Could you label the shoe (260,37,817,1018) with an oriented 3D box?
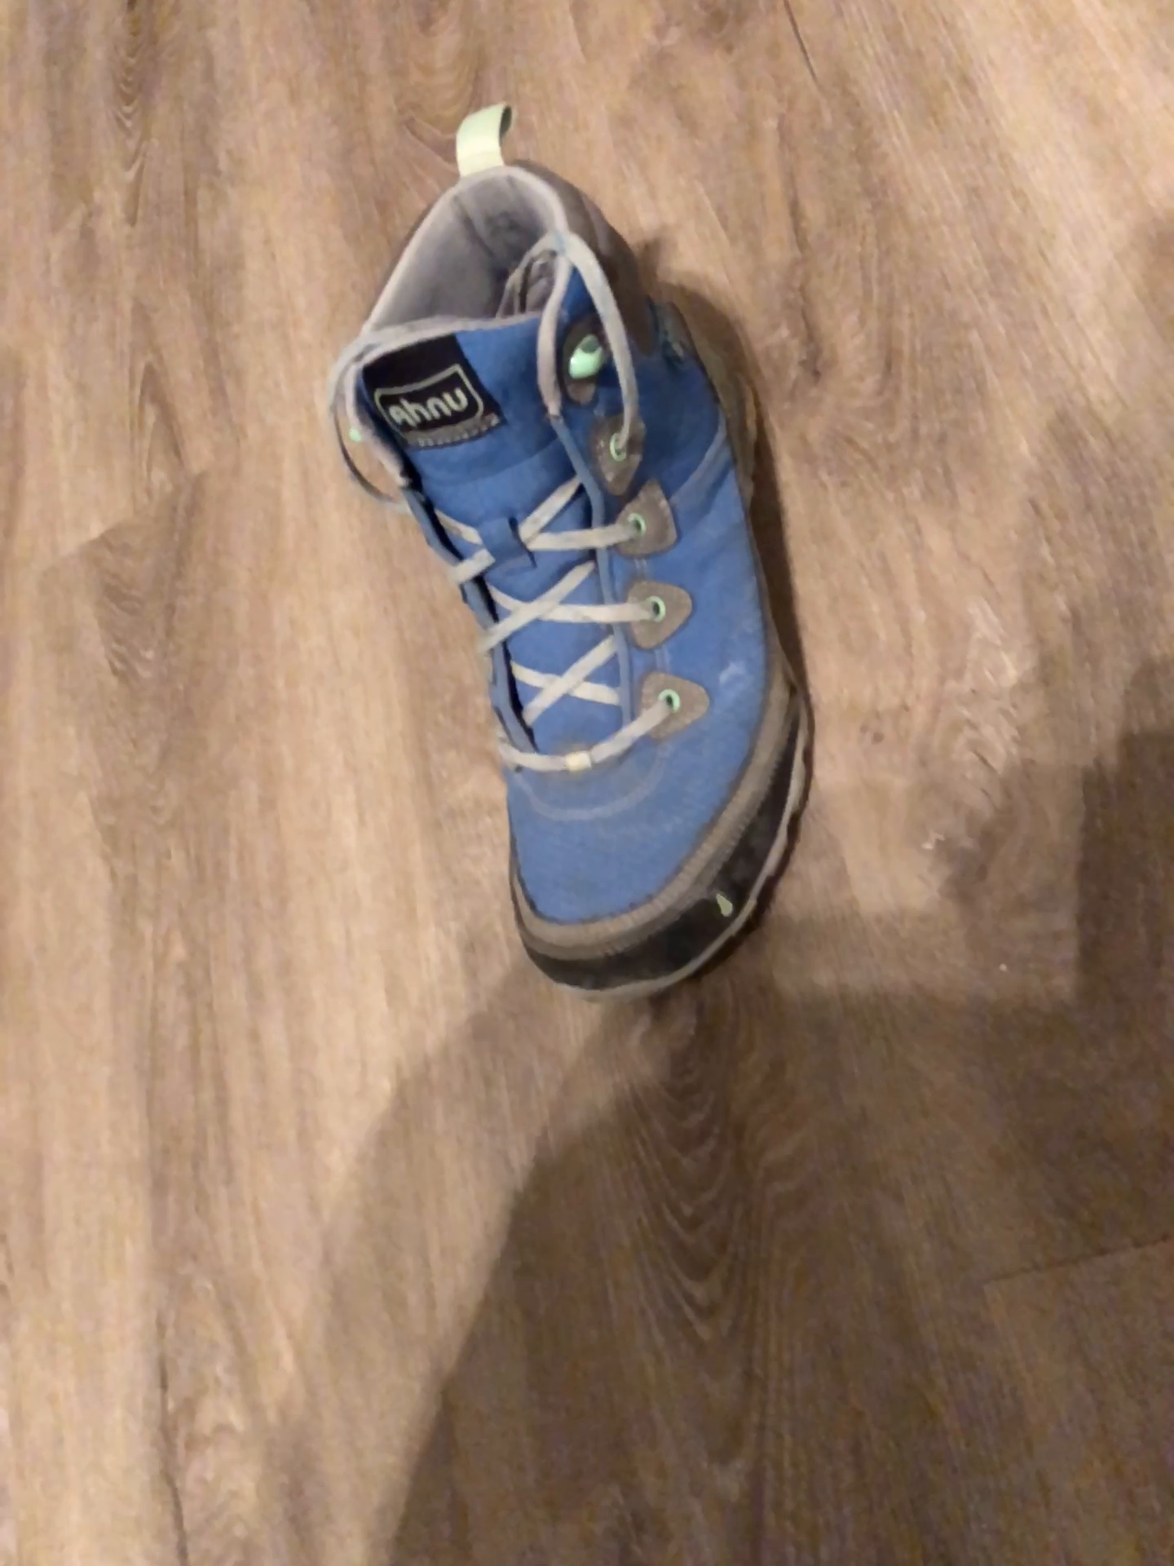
[{"bbox_3d":[-0.004,-0.063,0.406,0.100,0.139,0.250,-9,70,28],"label":"shoe"}]
